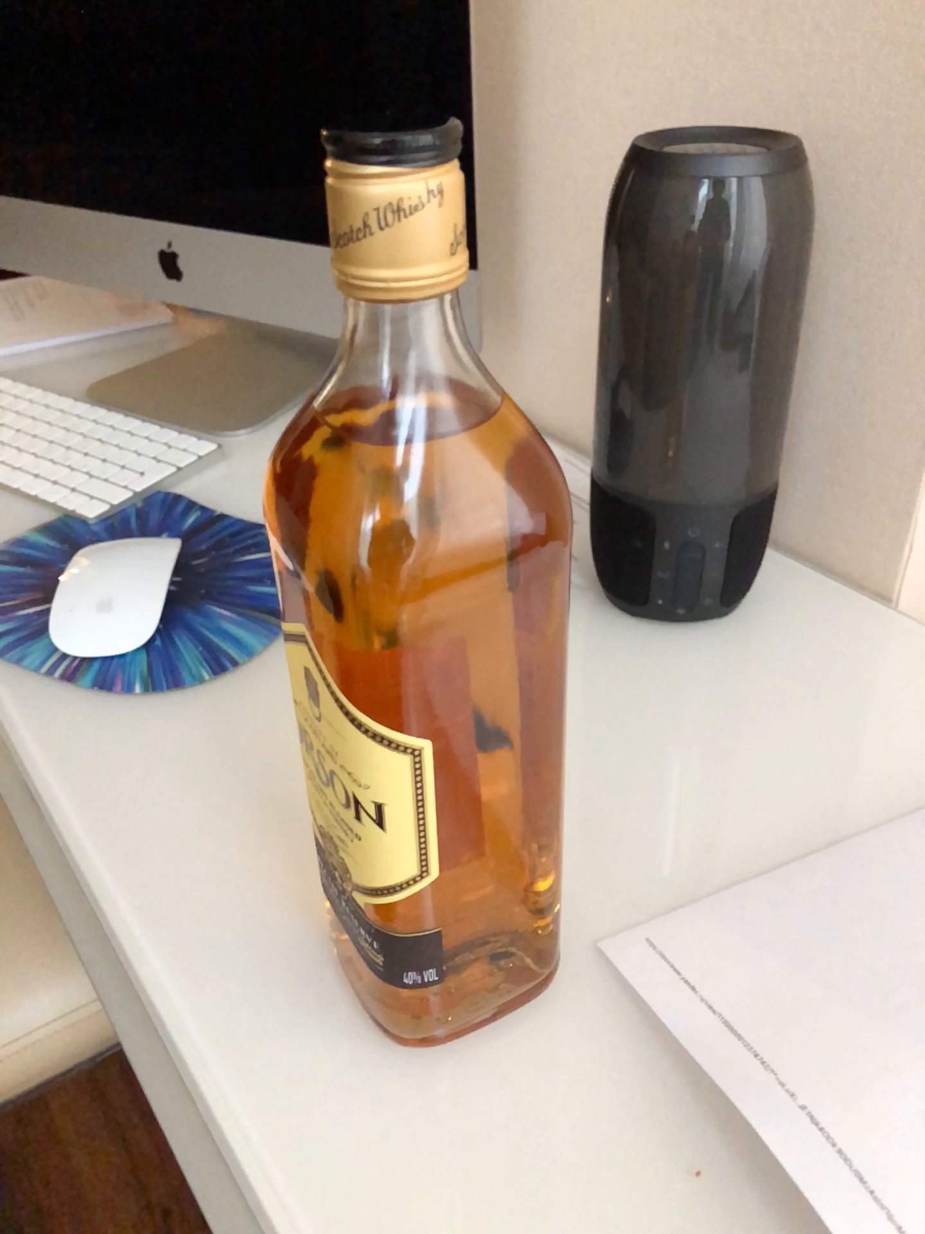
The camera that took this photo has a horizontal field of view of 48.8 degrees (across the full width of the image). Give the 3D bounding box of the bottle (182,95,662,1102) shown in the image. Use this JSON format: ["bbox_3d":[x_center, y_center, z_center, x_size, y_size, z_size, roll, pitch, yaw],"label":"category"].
[{"bbox_3d":[-0.009,0.009,0.278,0.070,0.258,0.080,-17,37,-21],"label":"bottle"}]
